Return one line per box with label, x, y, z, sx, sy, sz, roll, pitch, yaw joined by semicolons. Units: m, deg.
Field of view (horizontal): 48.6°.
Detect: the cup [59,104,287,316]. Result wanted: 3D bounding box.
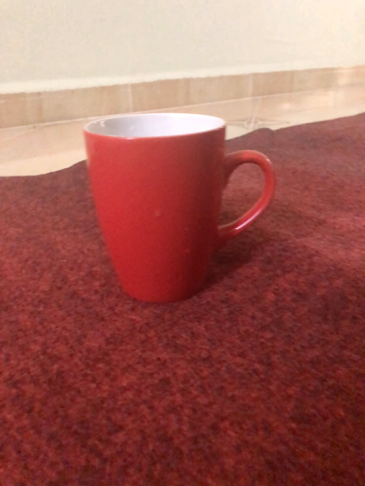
cup;-0.007;-0.029;0.253;0.109;0.094;0.078;-14;28;-24
